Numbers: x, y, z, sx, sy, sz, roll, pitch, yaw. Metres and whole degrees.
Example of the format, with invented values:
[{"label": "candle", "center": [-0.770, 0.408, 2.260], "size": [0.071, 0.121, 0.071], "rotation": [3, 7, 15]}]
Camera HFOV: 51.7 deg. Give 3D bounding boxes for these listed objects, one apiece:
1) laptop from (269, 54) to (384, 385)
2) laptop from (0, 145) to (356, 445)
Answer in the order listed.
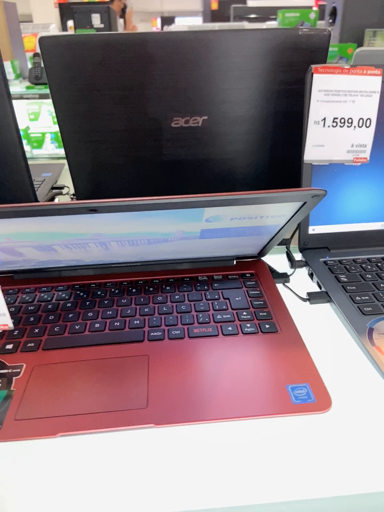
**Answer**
[{"label": "laptop", "center": [0.328, -0.065, 0.388], "size": [0.384, 0.207, 0.278], "rotation": [-3, 30, -7]}, {"label": "laptop", "center": [-0.076, 0.008, 0.339], "size": [0.320, 0.144, 0.213], "rotation": [-3, 28, -3]}]
